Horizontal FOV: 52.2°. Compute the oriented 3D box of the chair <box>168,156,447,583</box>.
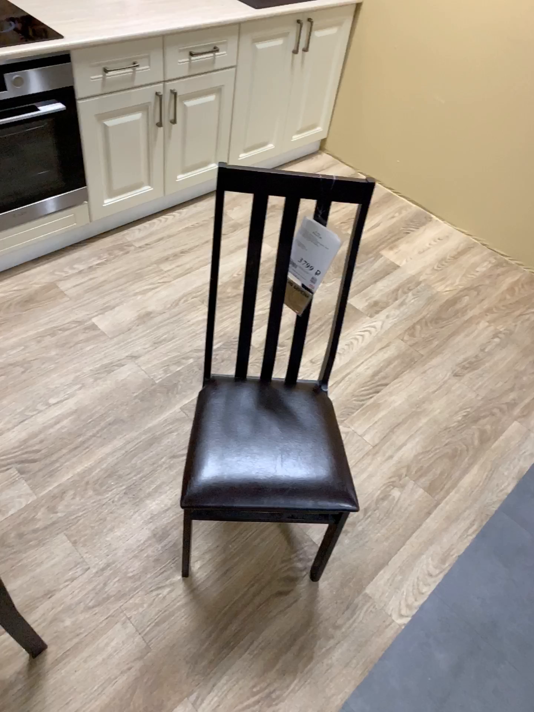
[{"bbox_3d":[-0.002,0.118,1.332,0.420,0.986,0.492,4,47,-6],"label":"chair"}]
